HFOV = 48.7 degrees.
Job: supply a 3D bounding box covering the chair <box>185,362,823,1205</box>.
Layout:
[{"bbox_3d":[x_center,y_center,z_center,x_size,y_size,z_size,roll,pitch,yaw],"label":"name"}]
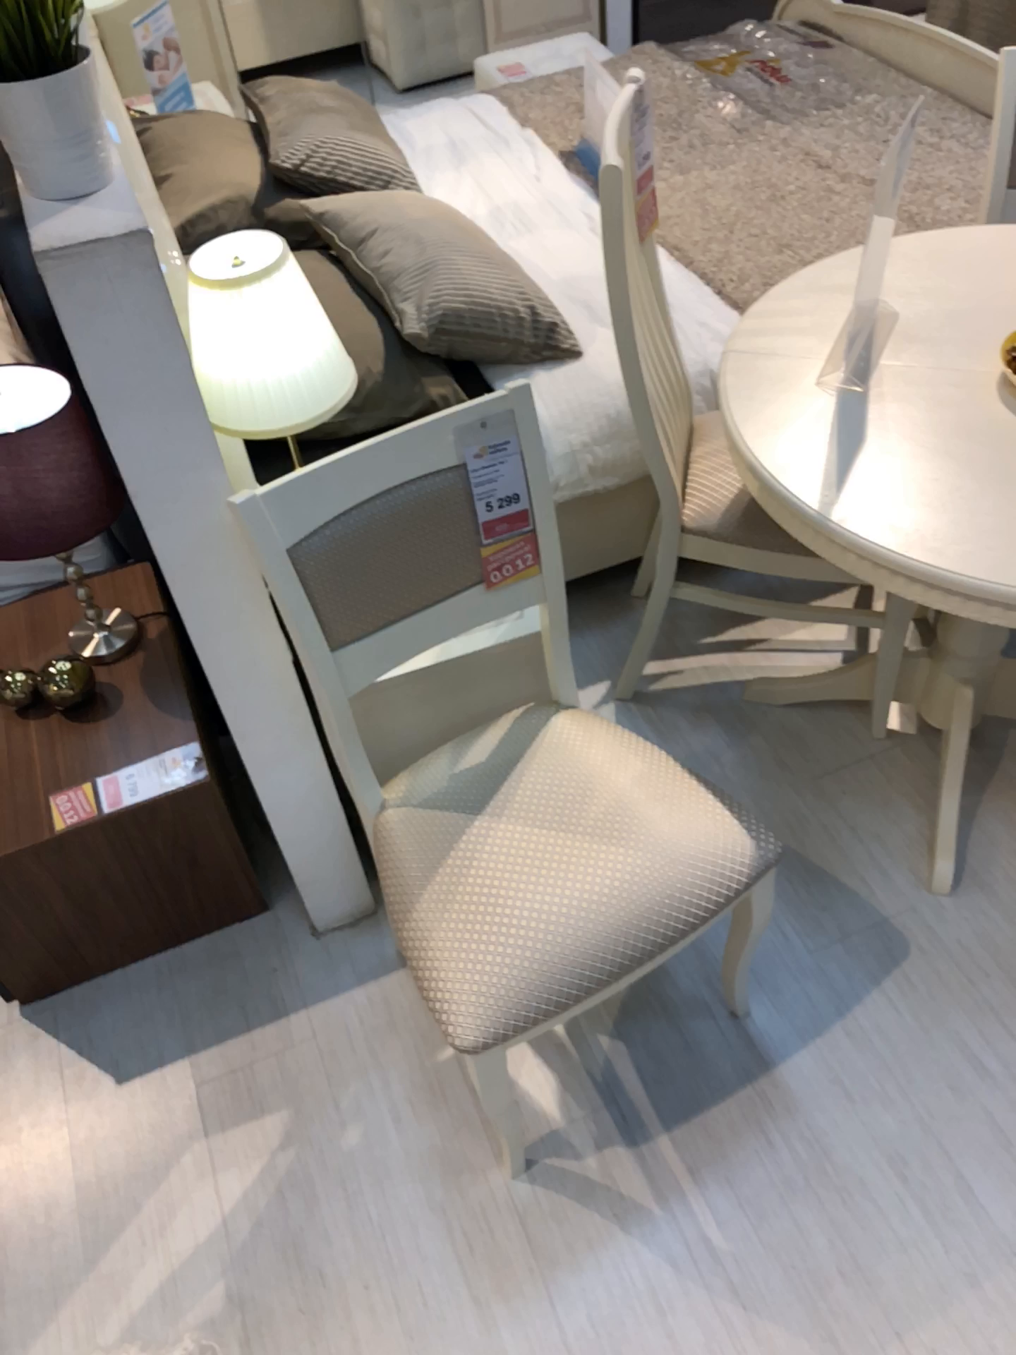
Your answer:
[{"bbox_3d":[0.019,0.185,1.481,0.470,0.947,0.473,-28,49,-19],"label":"chair"}]
